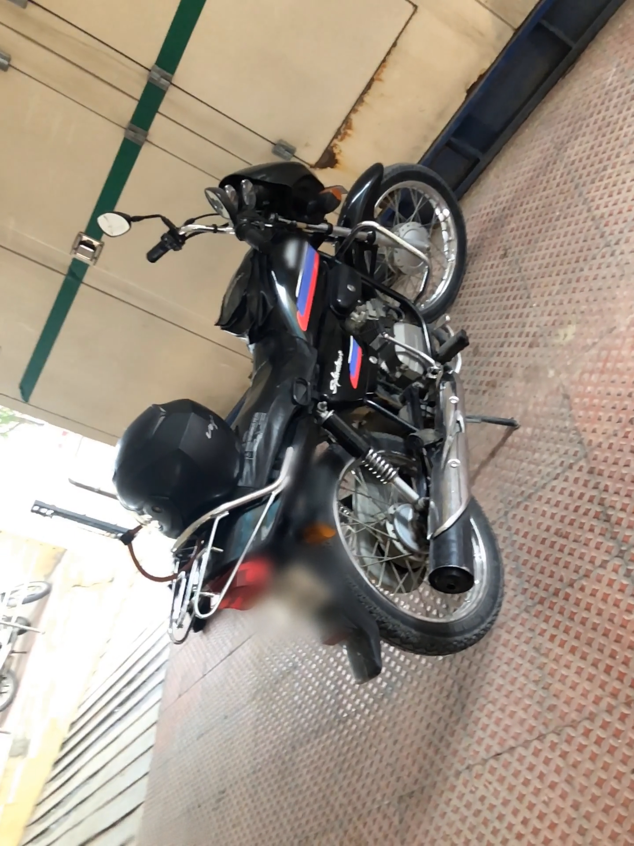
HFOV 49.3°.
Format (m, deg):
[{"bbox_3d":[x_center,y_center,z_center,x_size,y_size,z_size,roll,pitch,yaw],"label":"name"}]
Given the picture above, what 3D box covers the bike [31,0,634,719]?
[{"bbox_3d":[0.159,-0.286,2.033,0.736,1.089,1.864,-43,30,45],"label":"bike"}]
